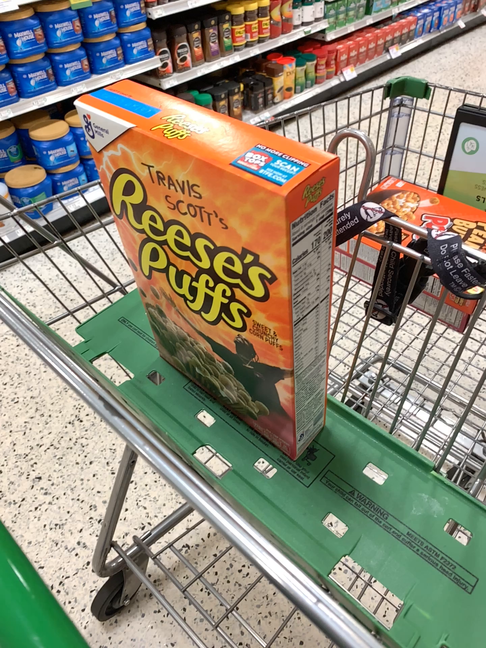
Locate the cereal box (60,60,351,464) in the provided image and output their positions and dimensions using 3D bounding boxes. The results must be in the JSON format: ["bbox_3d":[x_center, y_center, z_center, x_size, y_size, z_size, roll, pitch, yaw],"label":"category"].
[{"bbox_3d":[-0.024,-0.037,0.403,0.211,0.277,0.050,33,58,32],"label":"cereal box"}]
